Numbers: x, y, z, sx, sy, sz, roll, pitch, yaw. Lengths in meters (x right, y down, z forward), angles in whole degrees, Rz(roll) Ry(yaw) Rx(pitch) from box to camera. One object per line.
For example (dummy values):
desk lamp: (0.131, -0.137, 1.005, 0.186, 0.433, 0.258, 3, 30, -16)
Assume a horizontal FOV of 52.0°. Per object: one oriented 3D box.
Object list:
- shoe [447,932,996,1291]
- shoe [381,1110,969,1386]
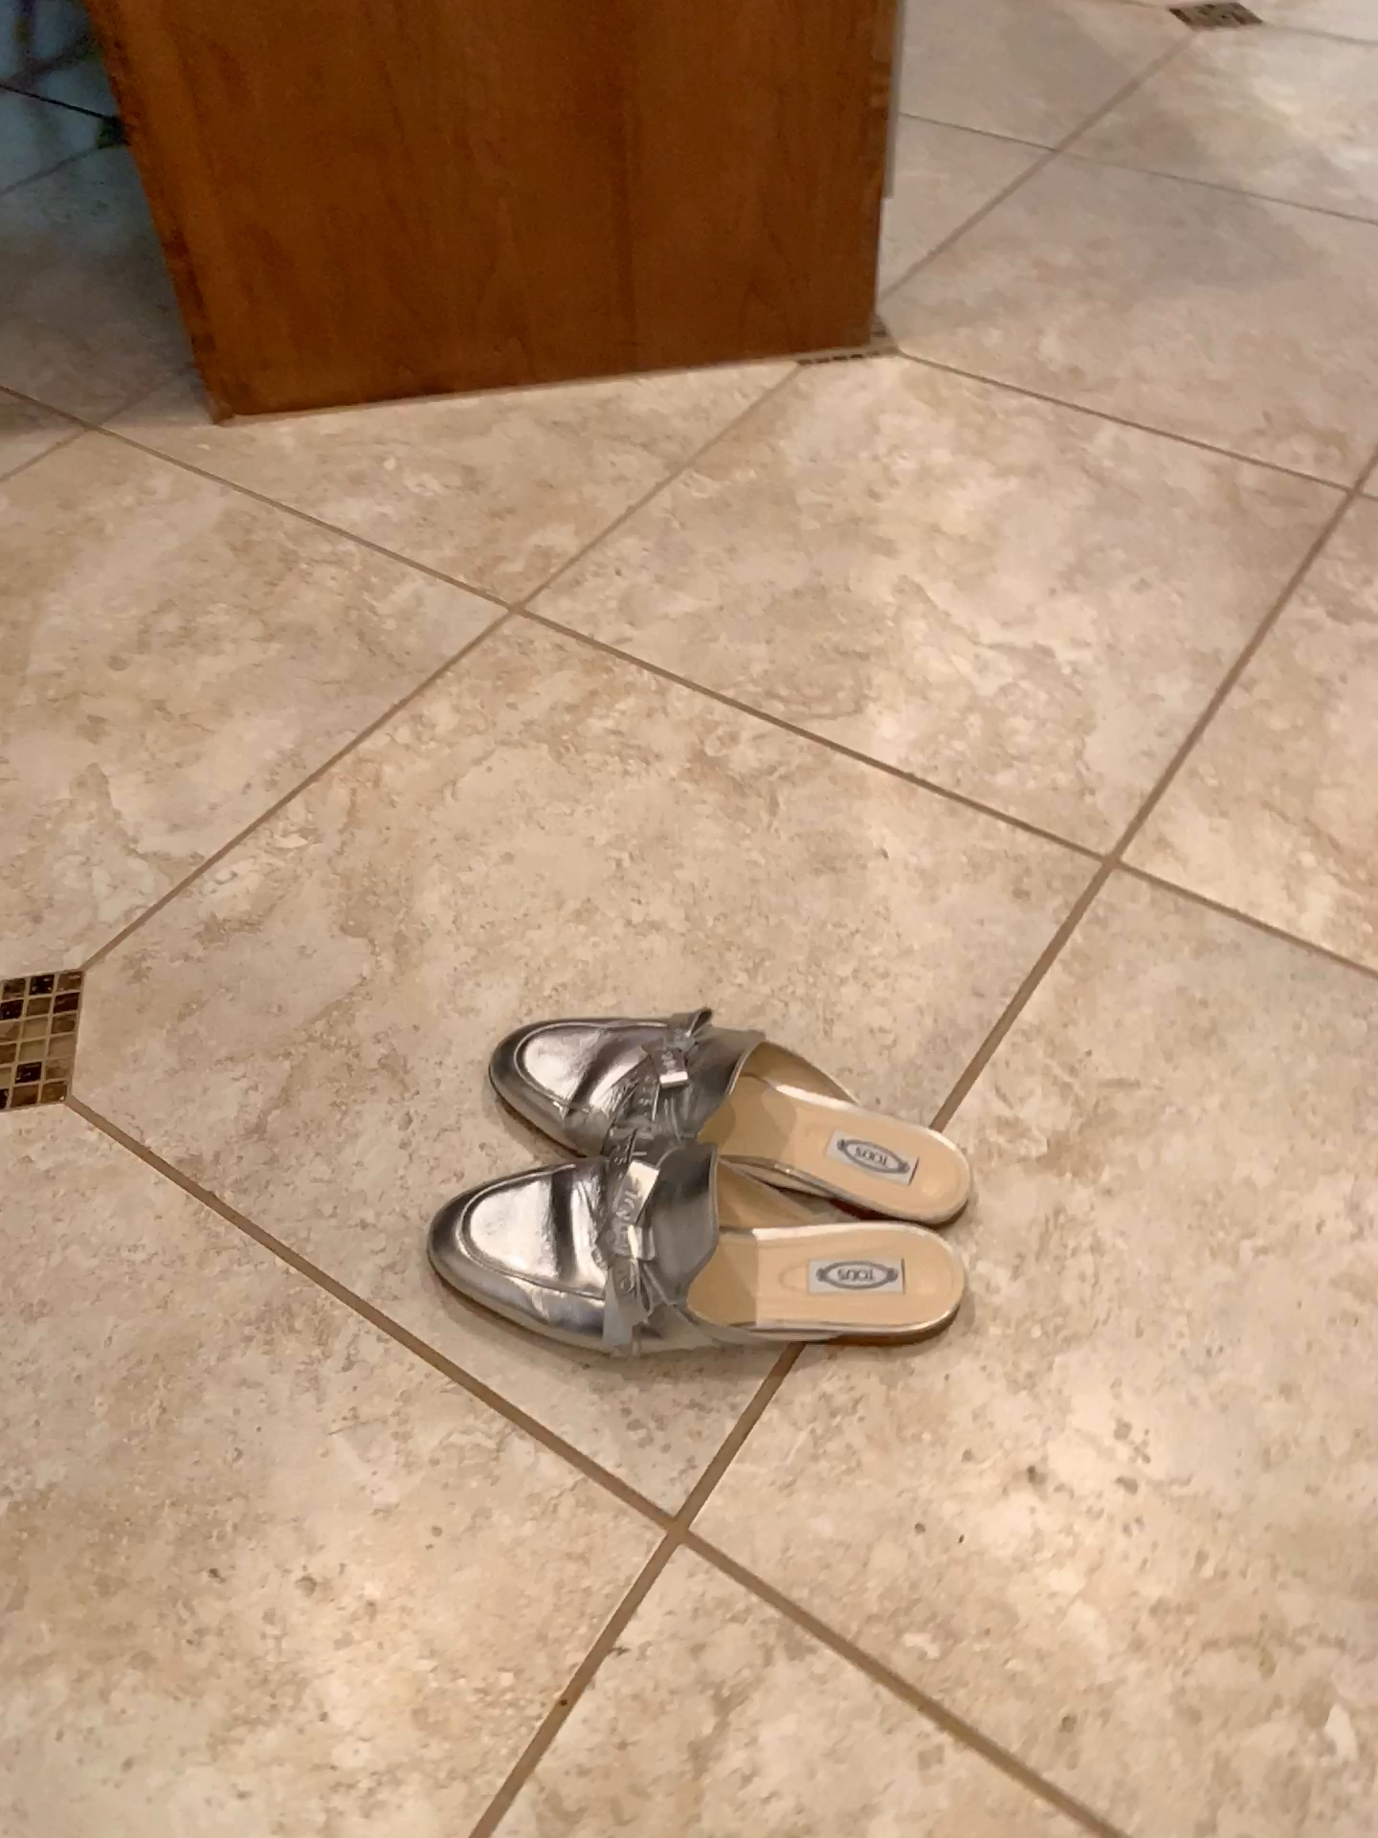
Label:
shoe: (0.018, 0.103, 0.787, 0.277, 0.077, 0.102, 14, 51, 14)
shoe: (-0.004, 0.168, 0.725, 0.280, 0.077, 0.092, 3, 49, 5)
